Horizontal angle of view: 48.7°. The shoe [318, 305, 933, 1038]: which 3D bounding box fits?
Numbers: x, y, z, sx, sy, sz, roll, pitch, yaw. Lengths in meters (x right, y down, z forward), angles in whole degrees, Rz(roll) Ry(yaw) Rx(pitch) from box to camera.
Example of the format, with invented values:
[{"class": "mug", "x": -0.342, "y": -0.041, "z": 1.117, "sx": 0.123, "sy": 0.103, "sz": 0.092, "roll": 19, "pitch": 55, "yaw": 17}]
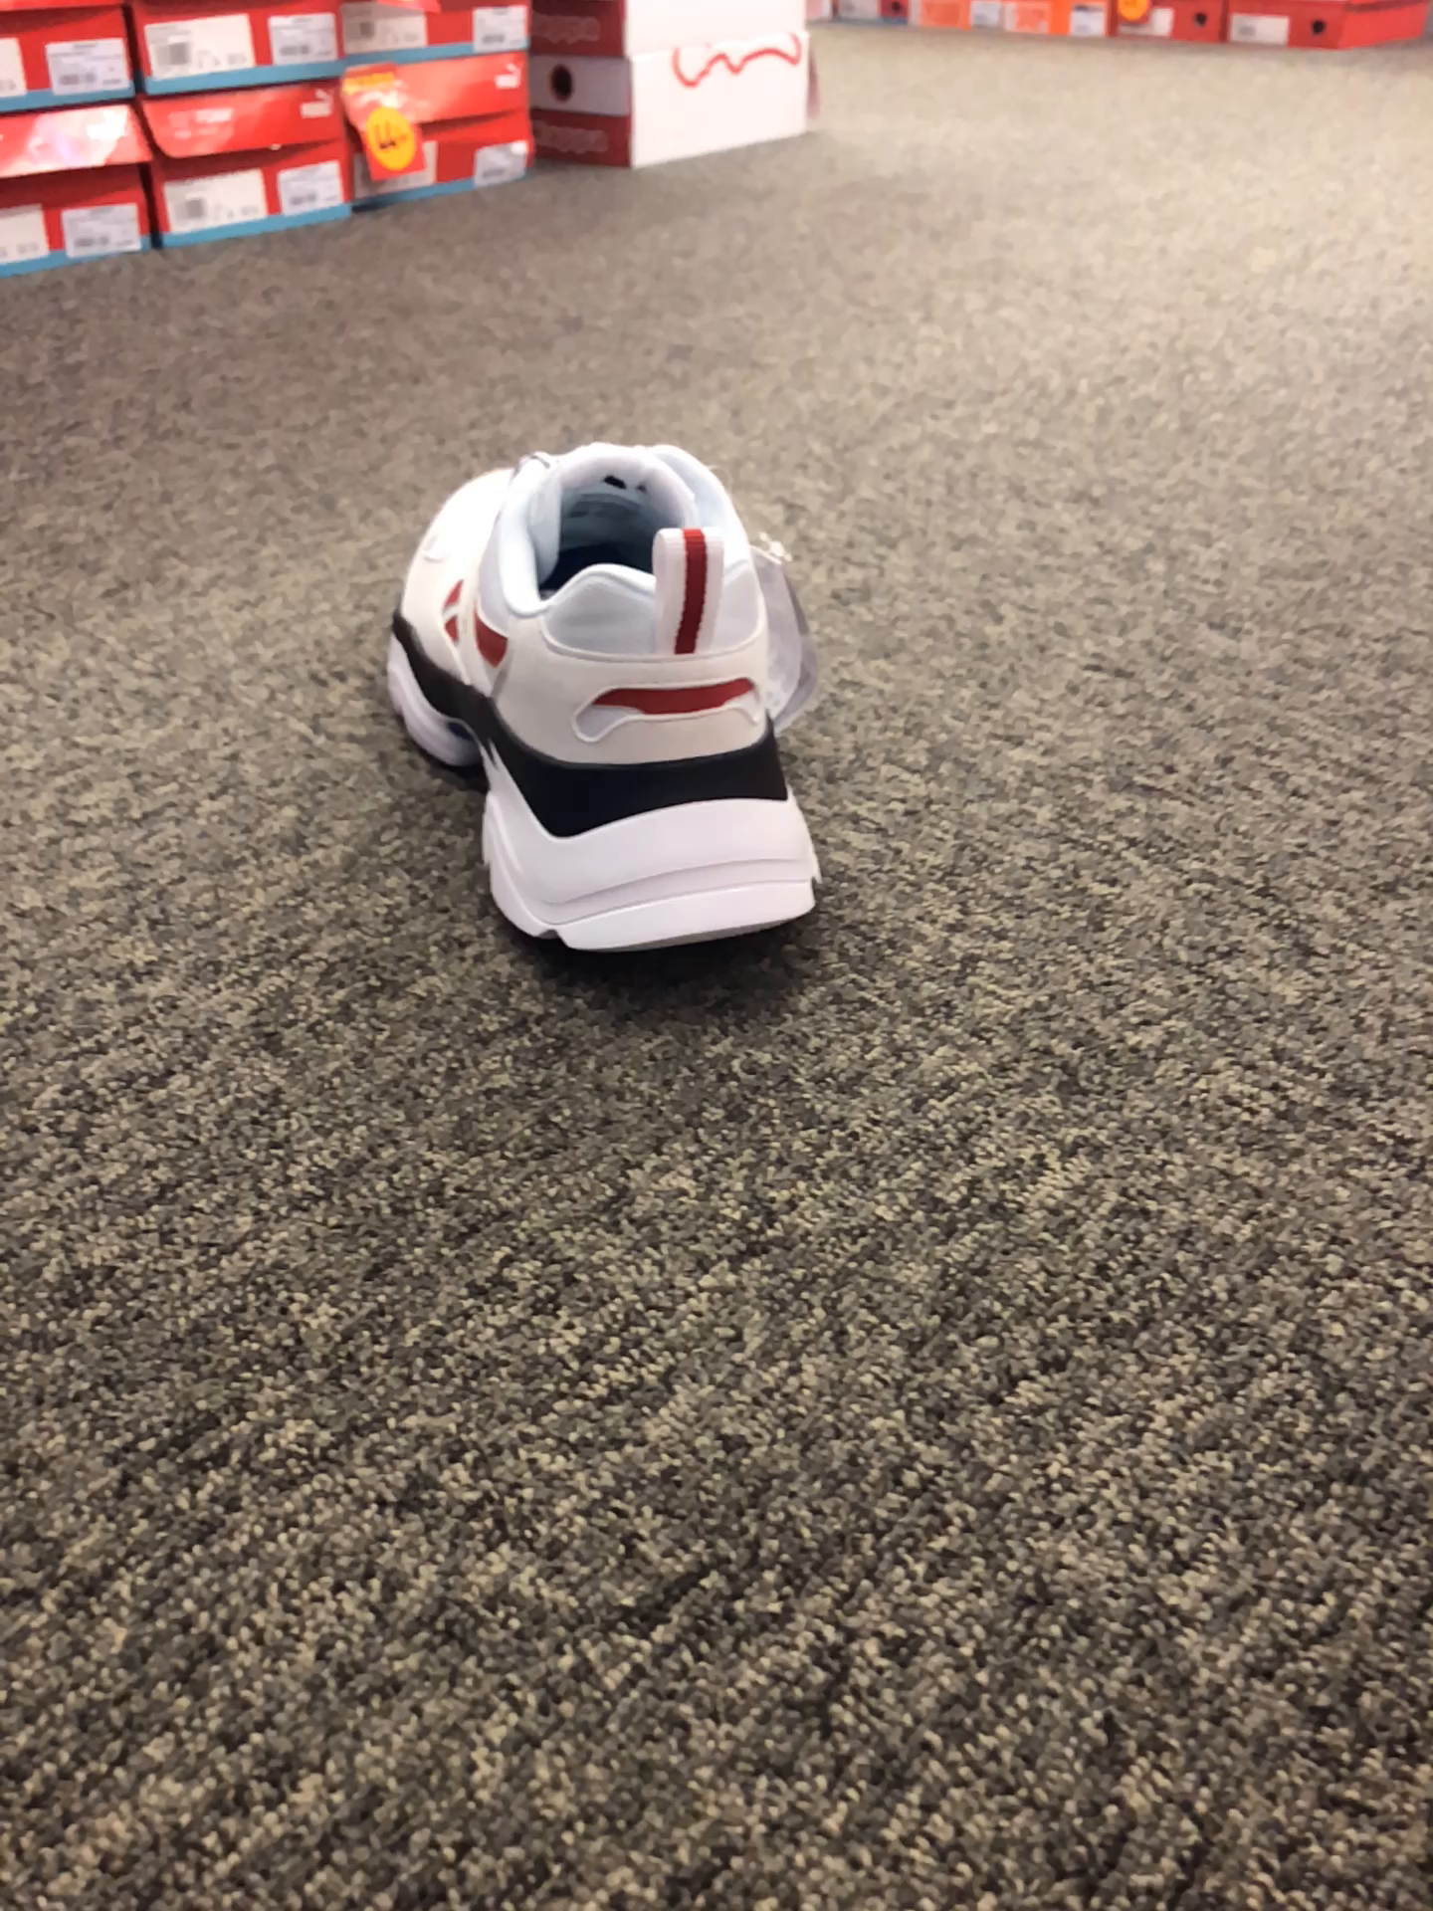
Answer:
[{"class": "shoe", "x": -0.047, "y": -0.115, "z": 0.510, "sx": 0.113, "sy": 0.109, "sz": 0.301, "roll": -11, "pitch": 36, "yaw": -14}]
